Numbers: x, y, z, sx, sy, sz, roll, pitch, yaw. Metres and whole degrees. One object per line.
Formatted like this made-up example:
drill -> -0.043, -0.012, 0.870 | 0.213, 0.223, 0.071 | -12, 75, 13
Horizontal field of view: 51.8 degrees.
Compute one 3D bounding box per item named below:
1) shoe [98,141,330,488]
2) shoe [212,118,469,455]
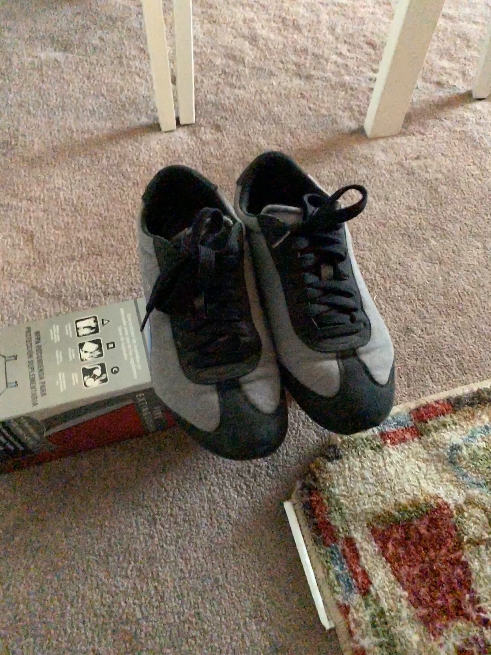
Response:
shoe -> -0.033, -0.019, 0.376 | 0.100, 0.089, 0.231 | -14, 60, -10
shoe -> 0.054, -0.041, 0.404 | 0.100, 0.099, 0.241 | -14, 60, -10
